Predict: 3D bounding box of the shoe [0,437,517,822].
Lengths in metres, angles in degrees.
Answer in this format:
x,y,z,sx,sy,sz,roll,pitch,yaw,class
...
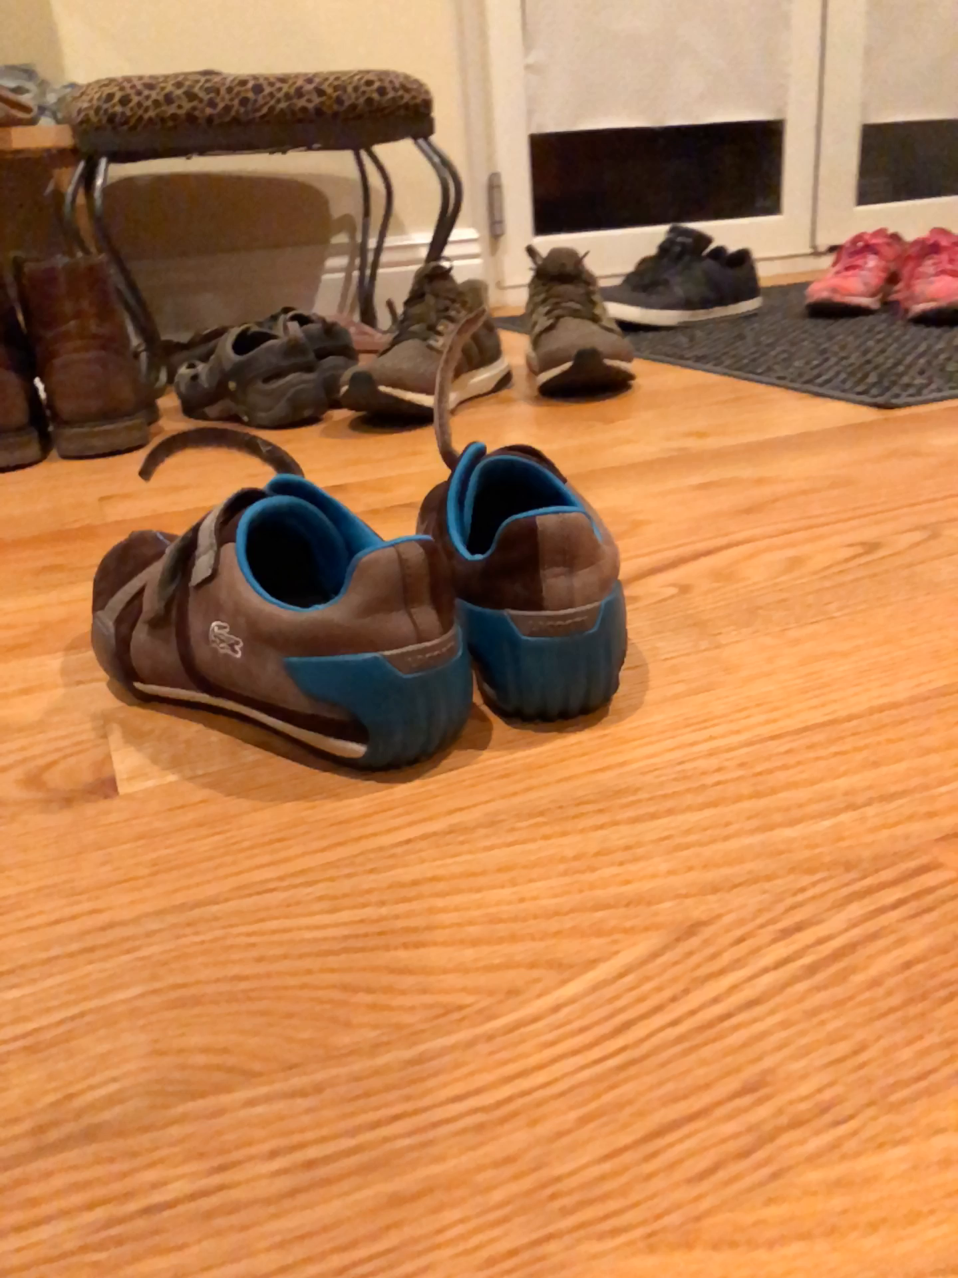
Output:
x,y,z,sx,sy,sz,roll,pitch,yaw,class
-0.112,-0.023,0.478,0.102,0.092,0.256,-23,29,-38,shoe

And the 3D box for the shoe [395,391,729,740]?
x,y,z,sx,sy,sz,roll,pitch,yaw,class
0.027,-0.055,0.534,0.102,0.092,0.256,-8,23,-8,shoe
